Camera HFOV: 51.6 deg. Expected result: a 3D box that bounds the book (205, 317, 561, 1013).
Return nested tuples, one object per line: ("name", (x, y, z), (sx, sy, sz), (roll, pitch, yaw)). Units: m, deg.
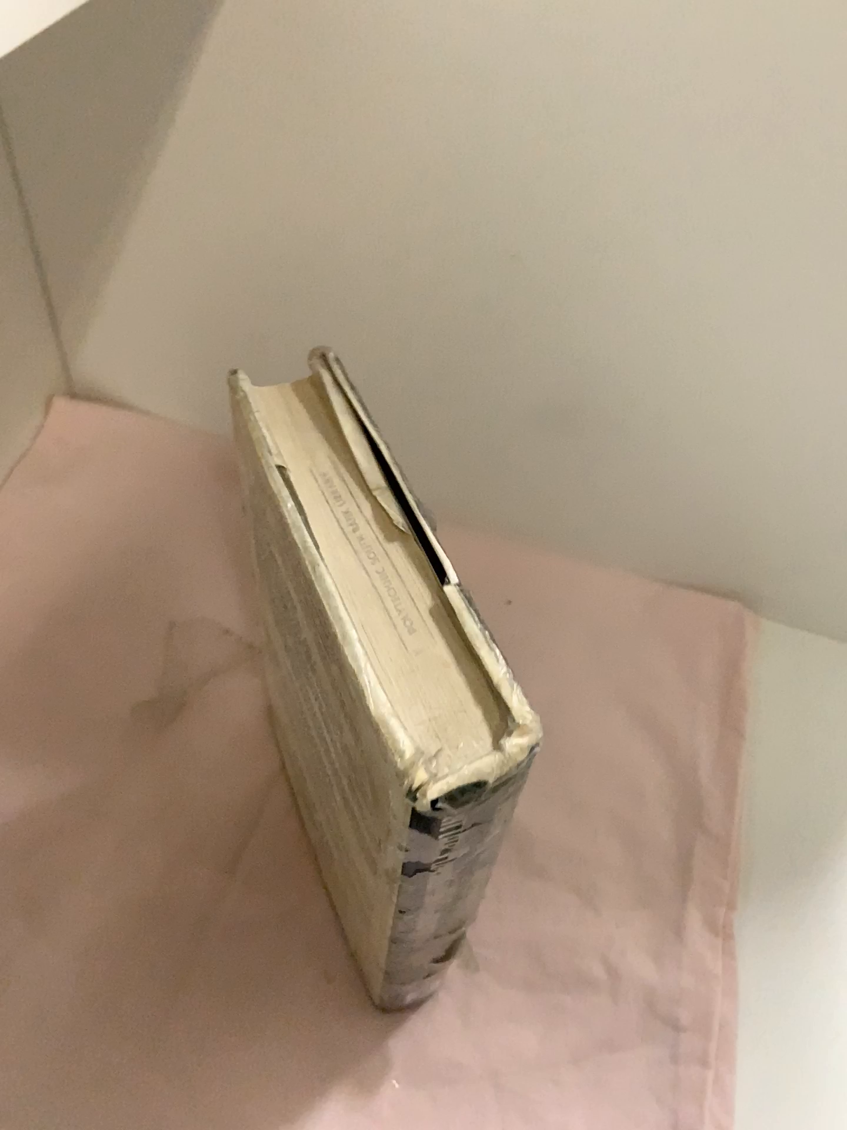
("book", (-0.027, 0.058, 0.346), (0.042, 0.247, 0.168), (-17, 56, -17))
